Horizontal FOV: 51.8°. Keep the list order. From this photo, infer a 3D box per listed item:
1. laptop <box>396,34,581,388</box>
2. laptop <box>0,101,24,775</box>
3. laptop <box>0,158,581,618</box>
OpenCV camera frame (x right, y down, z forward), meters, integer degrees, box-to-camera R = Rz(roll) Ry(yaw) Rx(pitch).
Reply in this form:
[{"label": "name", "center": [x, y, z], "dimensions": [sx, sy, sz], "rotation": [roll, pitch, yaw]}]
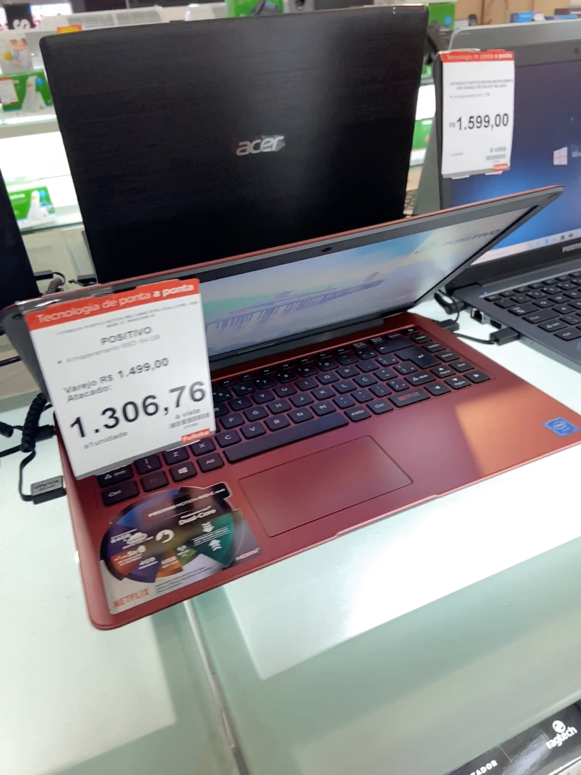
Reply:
[{"label": "laptop", "center": [0.358, -0.192, 0.542], "dimensions": [0.385, 0.207, 0.277], "rotation": [-16, 35, -23]}, {"label": "laptop", "center": [-0.324, 0.006, 0.259], "dimensions": [0.234, 0.159, 0.286], "rotation": [-11, 32, -33]}, {"label": "laptop", "center": [0.004, -0.037, 0.391], "dimensions": [0.320, 0.144, 0.212], "rotation": [-16, 33, -18]}]
